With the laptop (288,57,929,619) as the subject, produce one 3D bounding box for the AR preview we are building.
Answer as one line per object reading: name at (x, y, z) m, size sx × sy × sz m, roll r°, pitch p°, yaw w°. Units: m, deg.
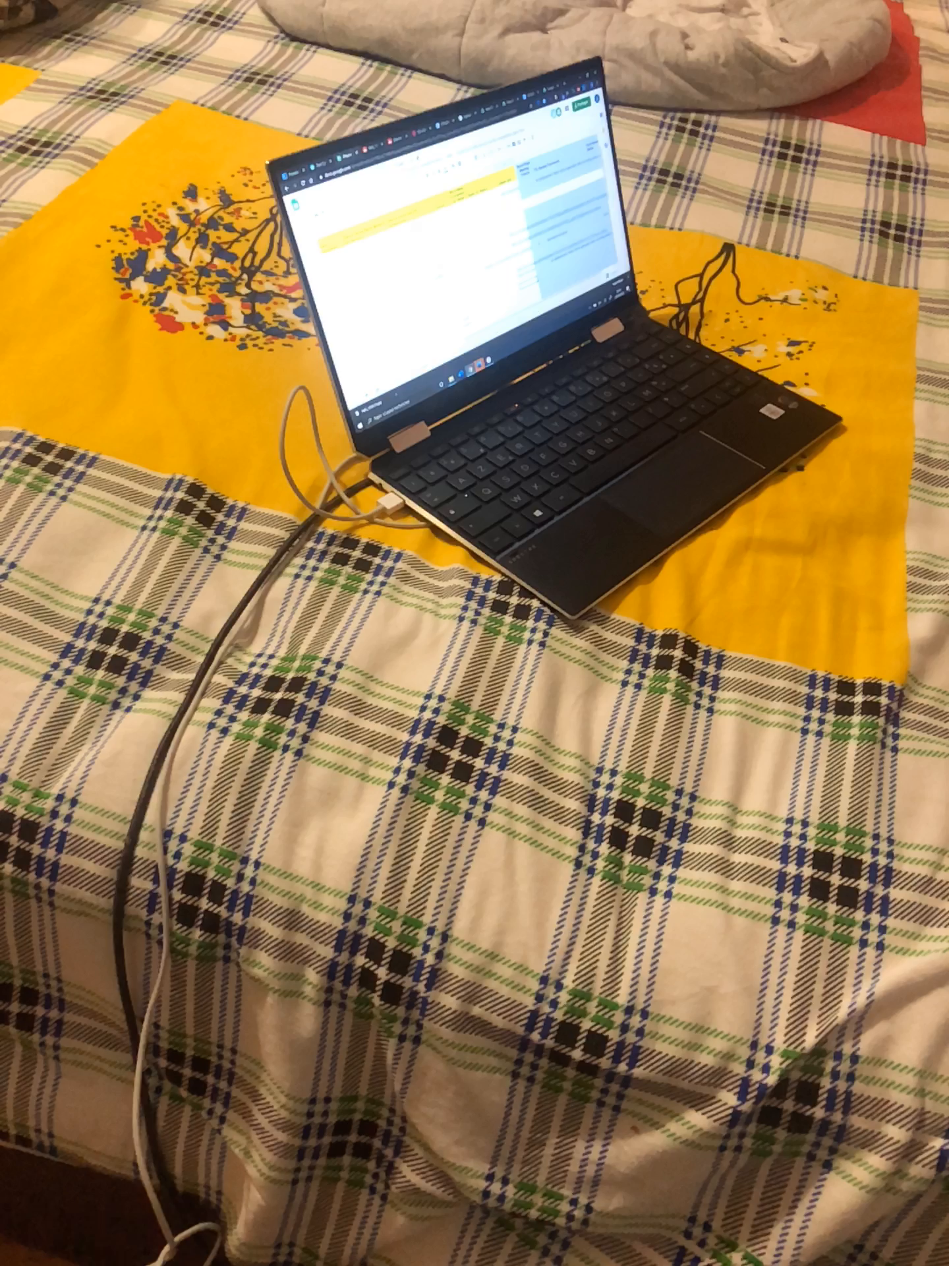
laptop at (0.073, -0.202, 0.651) m, size 0.275 × 0.158 × 0.254 m, roll -34°, pitch 59°, yaw -28°
